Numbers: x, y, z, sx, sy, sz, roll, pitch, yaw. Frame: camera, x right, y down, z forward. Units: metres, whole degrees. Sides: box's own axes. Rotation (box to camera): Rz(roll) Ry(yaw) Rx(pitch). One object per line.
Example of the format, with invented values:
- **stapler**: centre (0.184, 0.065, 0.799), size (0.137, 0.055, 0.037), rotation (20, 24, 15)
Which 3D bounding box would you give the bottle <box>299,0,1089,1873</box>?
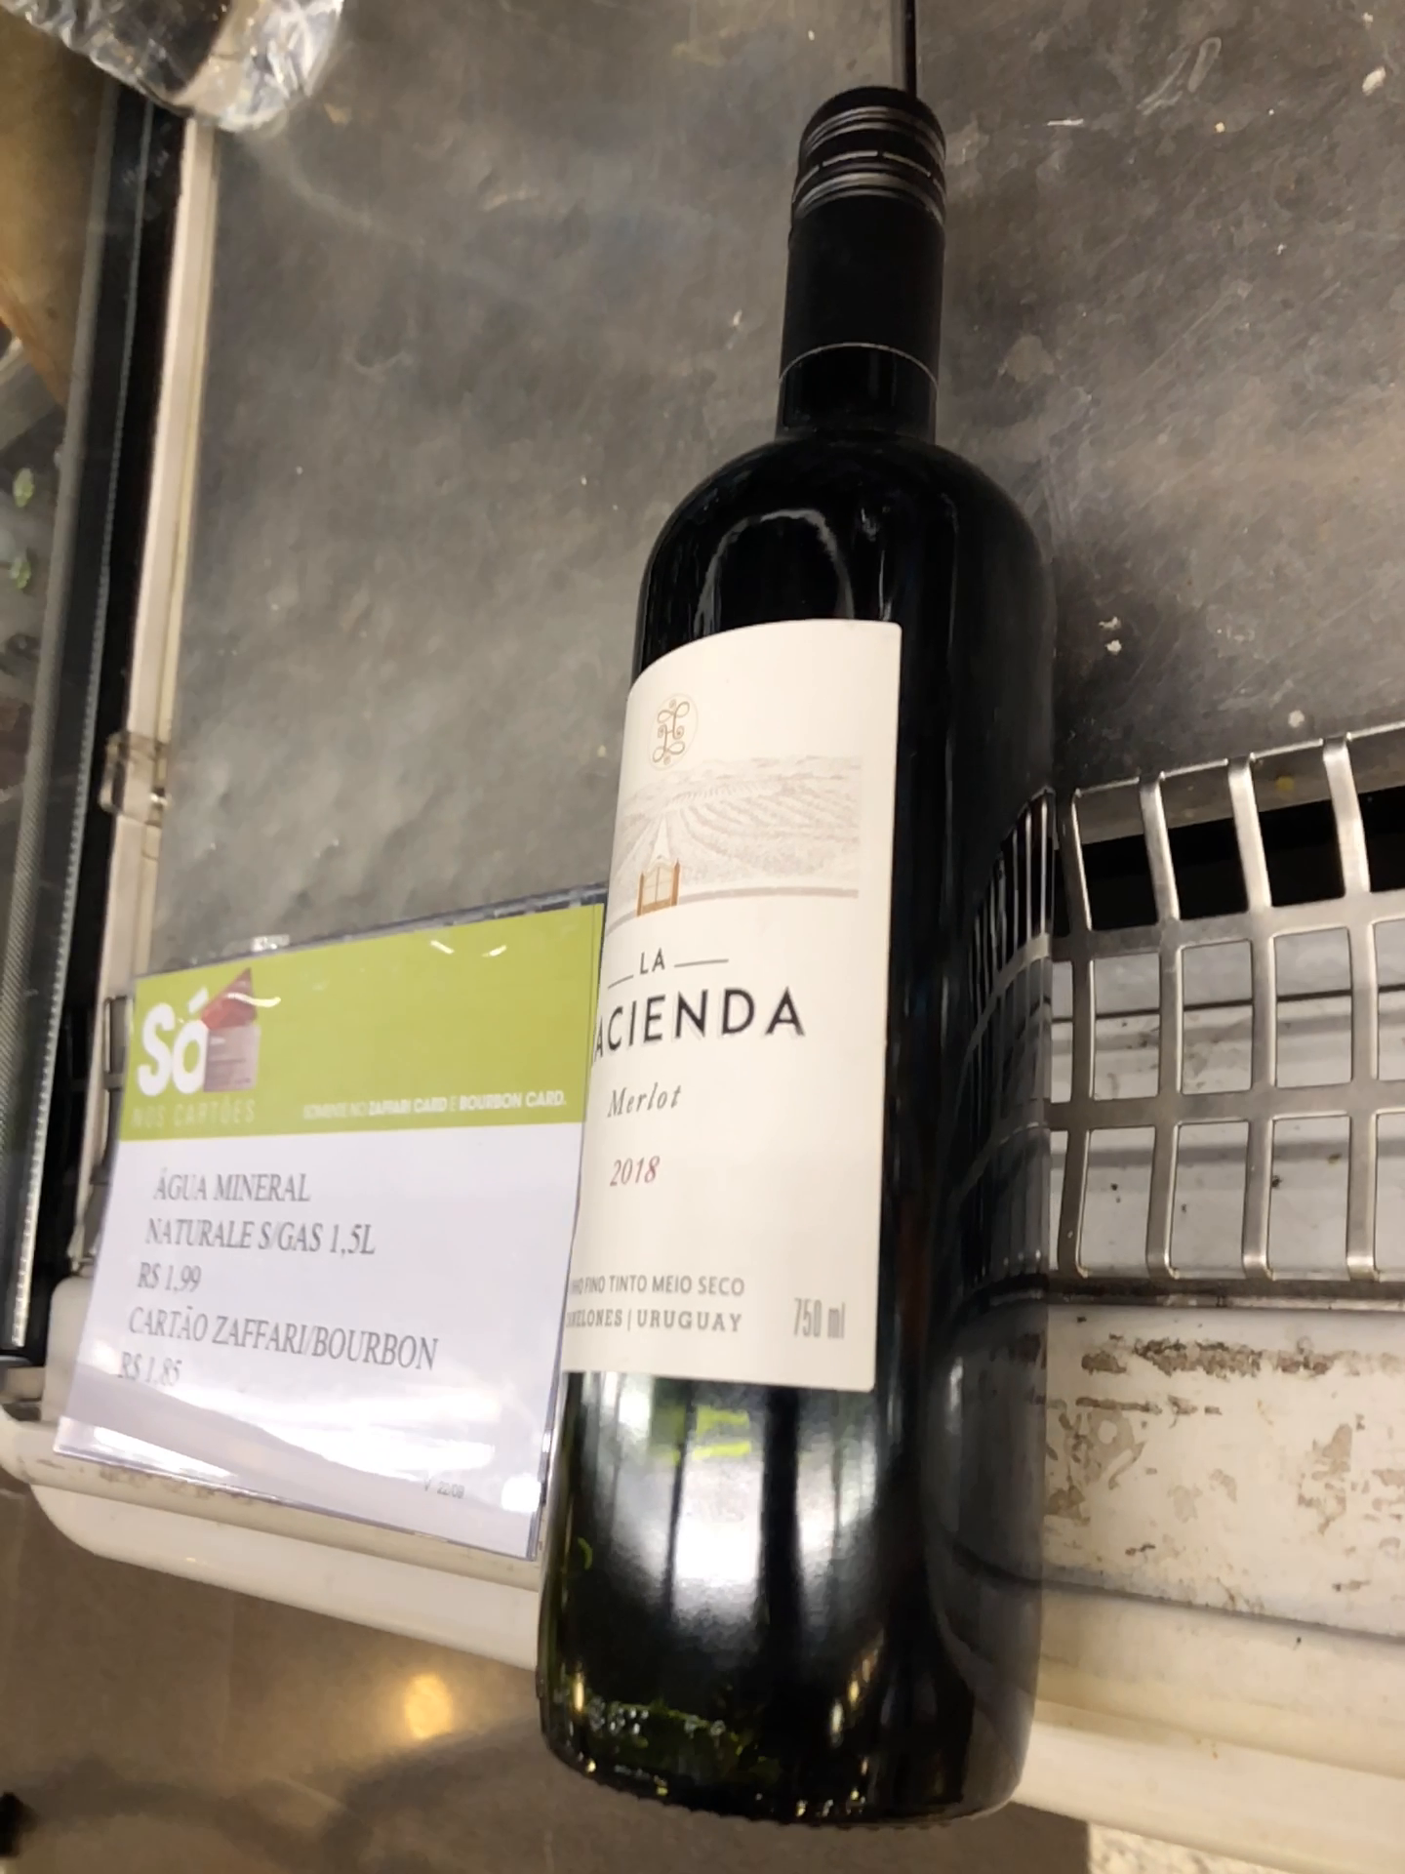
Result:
- **bottle**: centre (0.009, -0.029, 0.256), size (0.080, 0.070, 0.300), rotation (-10, 68, 42)
